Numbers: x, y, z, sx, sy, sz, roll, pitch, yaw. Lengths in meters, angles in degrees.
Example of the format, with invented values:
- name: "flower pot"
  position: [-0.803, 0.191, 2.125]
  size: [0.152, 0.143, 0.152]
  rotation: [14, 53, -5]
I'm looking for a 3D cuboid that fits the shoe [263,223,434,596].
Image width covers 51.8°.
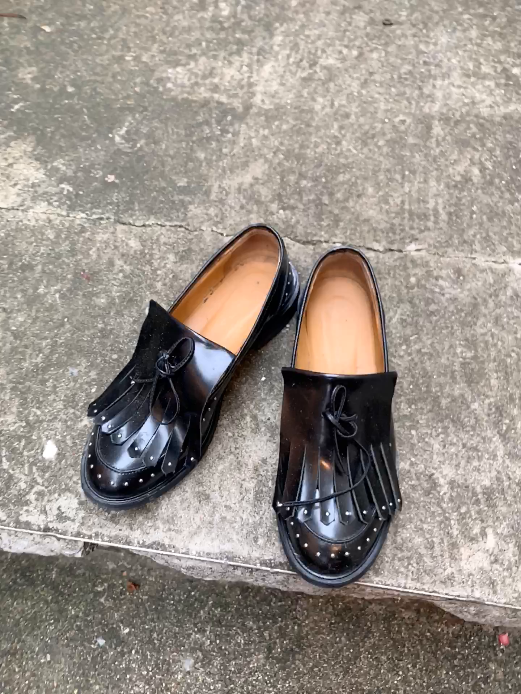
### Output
- name: "shoe"
  position: [0.061, 0.037, 0.389]
  size: [0.093, 0.081, 0.249]
  rotation: [5, 62, 3]

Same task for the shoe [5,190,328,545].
- name: "shoe"
  position: [-0.053, 0.007, 0.405]
  size: [0.094, 0.081, 0.246]
  rotation: [28, 66, 17]
